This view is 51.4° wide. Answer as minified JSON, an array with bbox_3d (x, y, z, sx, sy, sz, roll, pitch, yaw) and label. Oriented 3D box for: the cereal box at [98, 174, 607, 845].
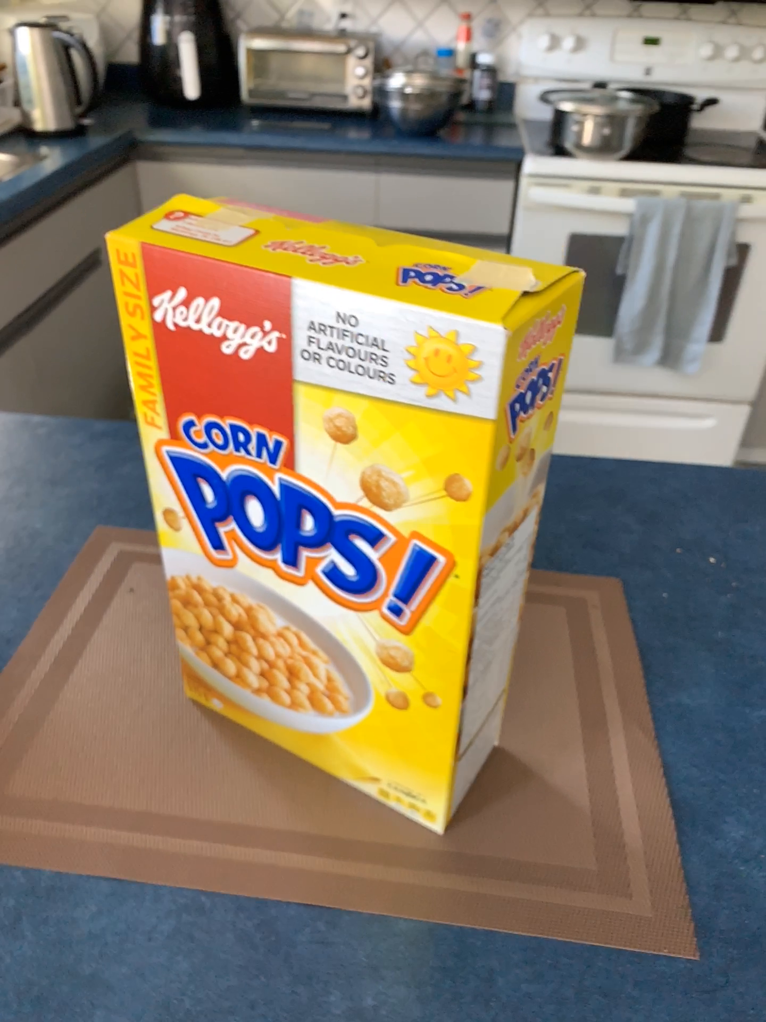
[{"bbox_3d":[-0.023,0.005,0.442,0.211,0.317,0.091,20,38,24],"label":"cereal box"}]
